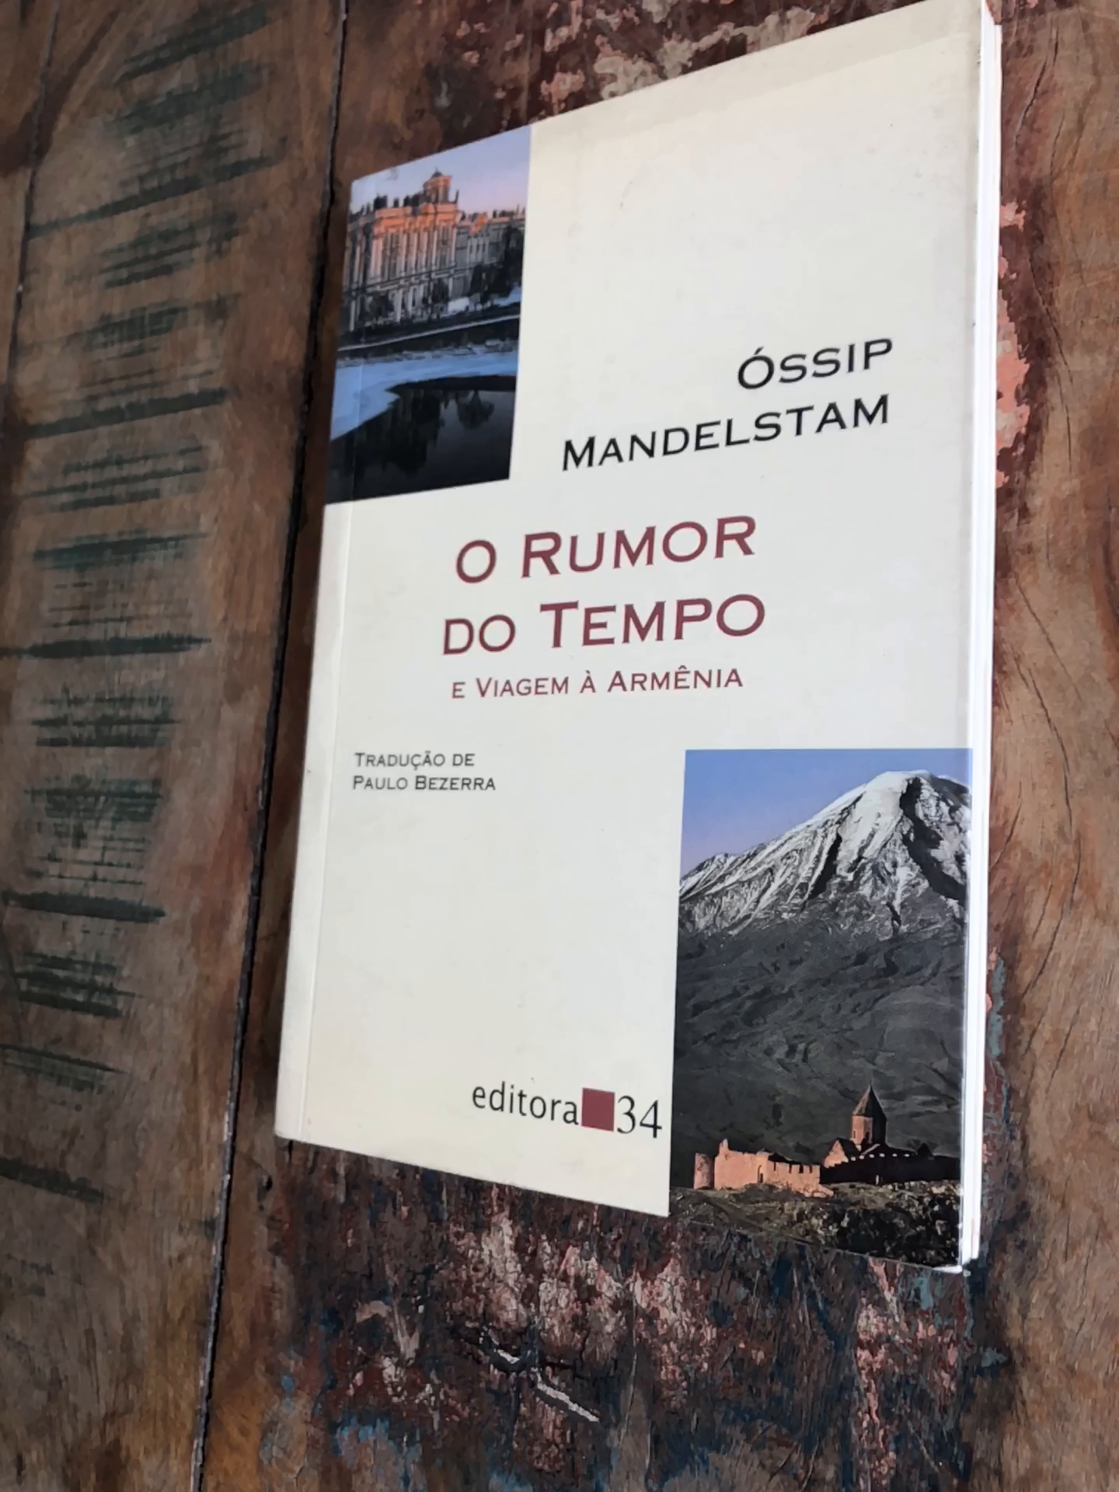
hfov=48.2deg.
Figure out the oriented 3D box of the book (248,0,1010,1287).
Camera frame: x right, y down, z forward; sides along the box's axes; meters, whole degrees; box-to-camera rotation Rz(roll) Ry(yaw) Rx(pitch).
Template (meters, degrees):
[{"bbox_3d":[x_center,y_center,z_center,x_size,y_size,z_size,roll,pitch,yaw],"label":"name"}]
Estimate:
[{"bbox_3d":[0.008,-0.025,0.233,0.140,0.022,0.207,-1,83,32],"label":"book"}]
